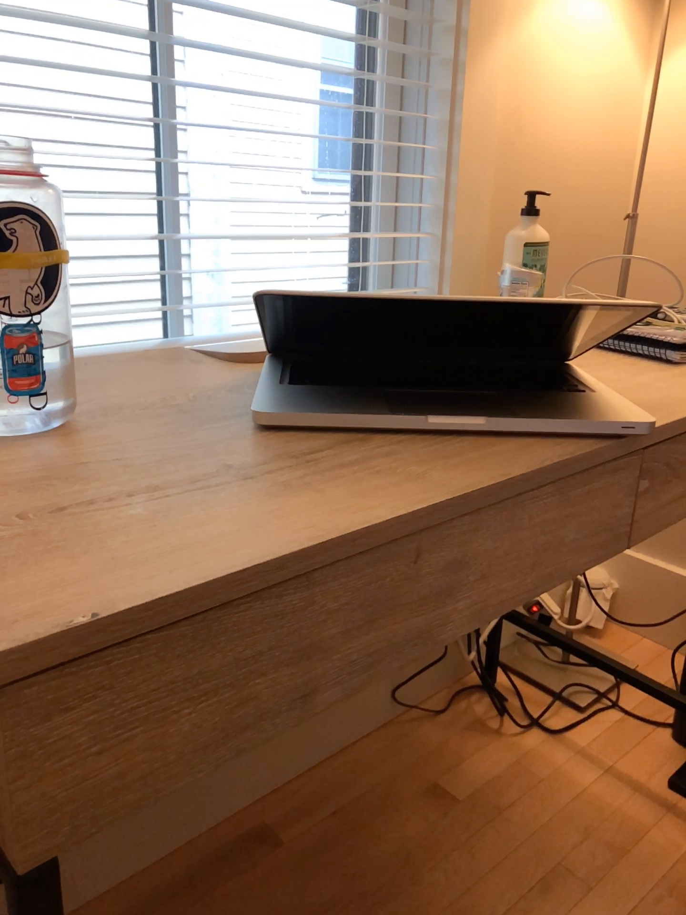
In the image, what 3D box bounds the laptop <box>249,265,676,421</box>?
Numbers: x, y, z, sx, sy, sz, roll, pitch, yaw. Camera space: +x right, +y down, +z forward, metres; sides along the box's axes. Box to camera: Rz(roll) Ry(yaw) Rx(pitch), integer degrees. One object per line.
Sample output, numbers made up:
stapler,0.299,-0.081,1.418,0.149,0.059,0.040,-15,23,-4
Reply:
laptop,0.080,-0.105,0.636,0.300,0.082,0.210,1,20,-3
